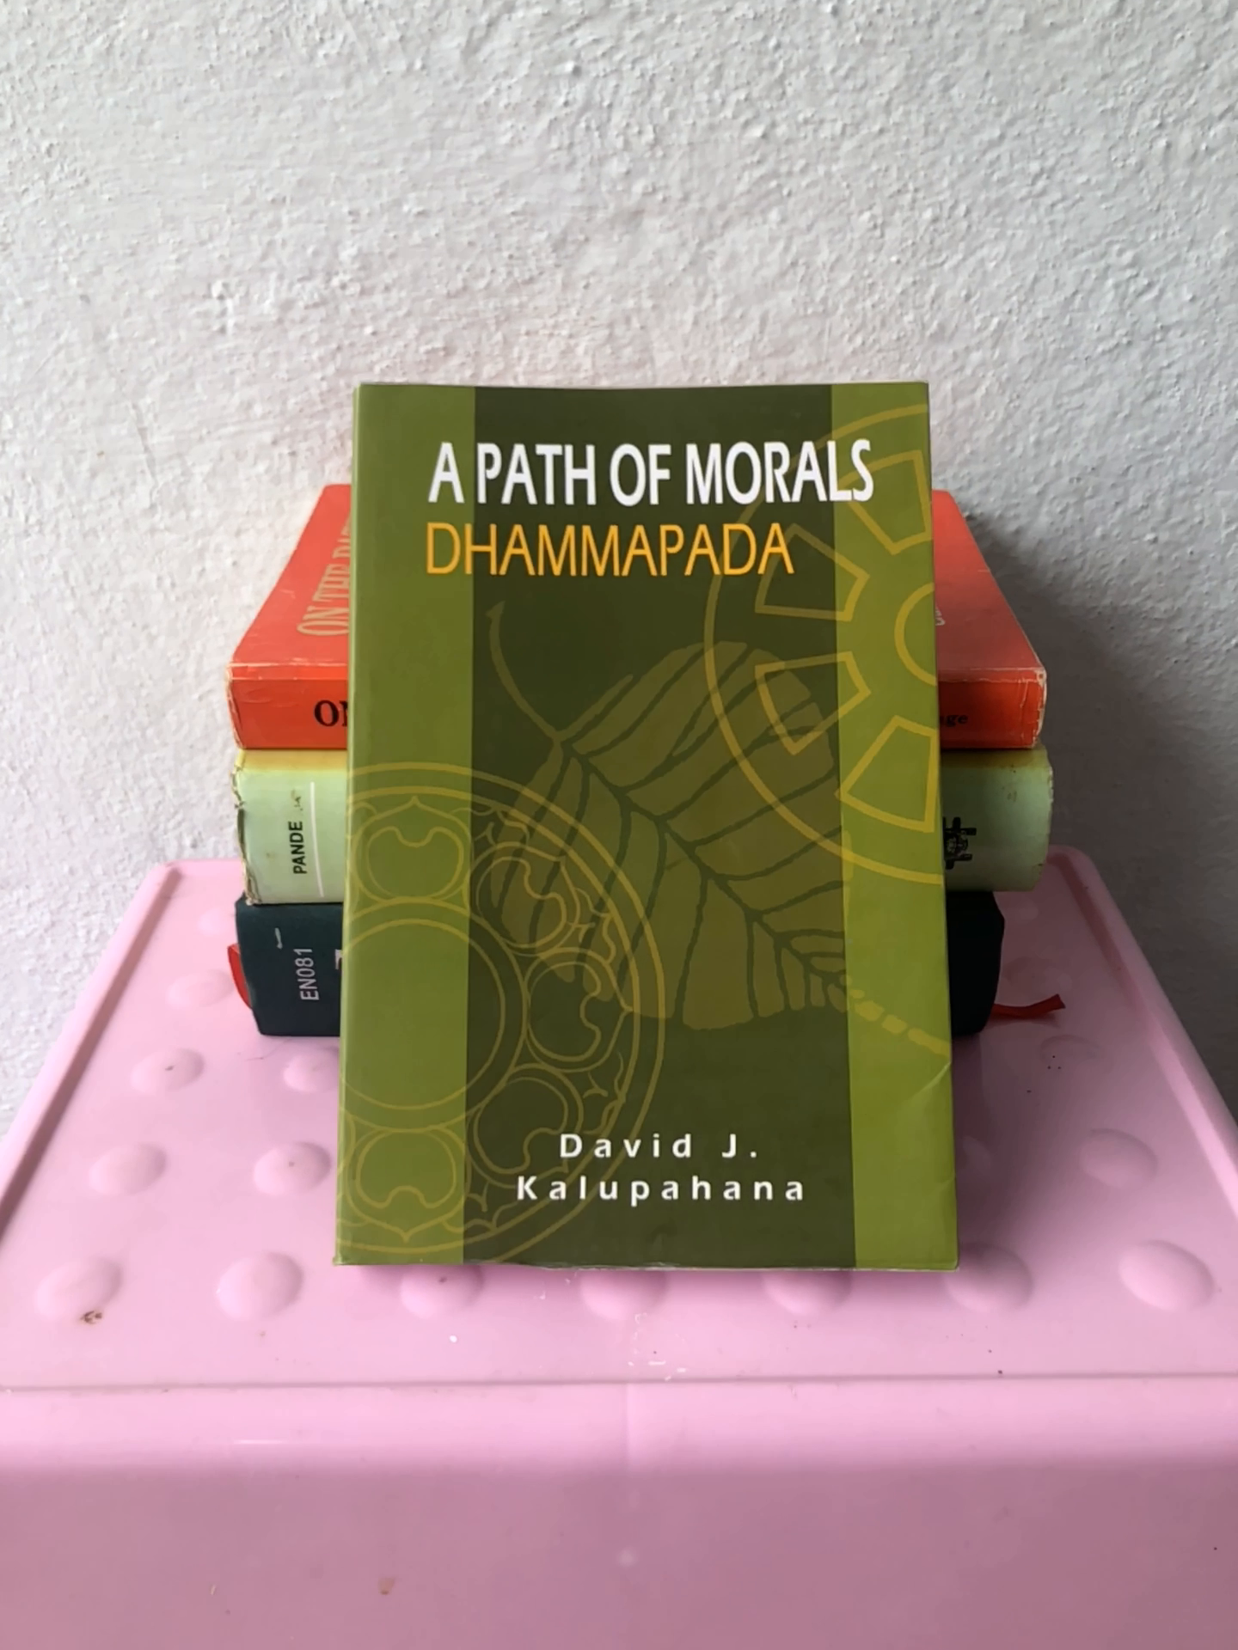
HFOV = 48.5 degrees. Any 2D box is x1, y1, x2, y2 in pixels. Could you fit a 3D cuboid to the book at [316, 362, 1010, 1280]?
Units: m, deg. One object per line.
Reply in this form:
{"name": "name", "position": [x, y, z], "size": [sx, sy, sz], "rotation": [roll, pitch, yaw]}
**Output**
{"name": "book", "position": [0.011, -0.004, 0.333], "size": [0.150, 0.210, 0.040], "rotation": [1, -9, 1]}

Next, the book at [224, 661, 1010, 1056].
{"name": "book", "position": [0.003, 0.004, 0.448], "size": [0.210, 0.050, 0.161], "rotation": [-1, 30, 3]}

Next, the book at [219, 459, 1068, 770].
{"name": "book", "position": [0.007, -0.071, 0.417], "size": [0.210, 0.030, 0.161], "rotation": [-1, 30, 2]}

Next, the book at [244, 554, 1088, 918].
{"name": "book", "position": [0.013, -0.035, 0.421], "size": [0.210, 0.040, 0.161], "rotation": [-1, 30, 1]}
